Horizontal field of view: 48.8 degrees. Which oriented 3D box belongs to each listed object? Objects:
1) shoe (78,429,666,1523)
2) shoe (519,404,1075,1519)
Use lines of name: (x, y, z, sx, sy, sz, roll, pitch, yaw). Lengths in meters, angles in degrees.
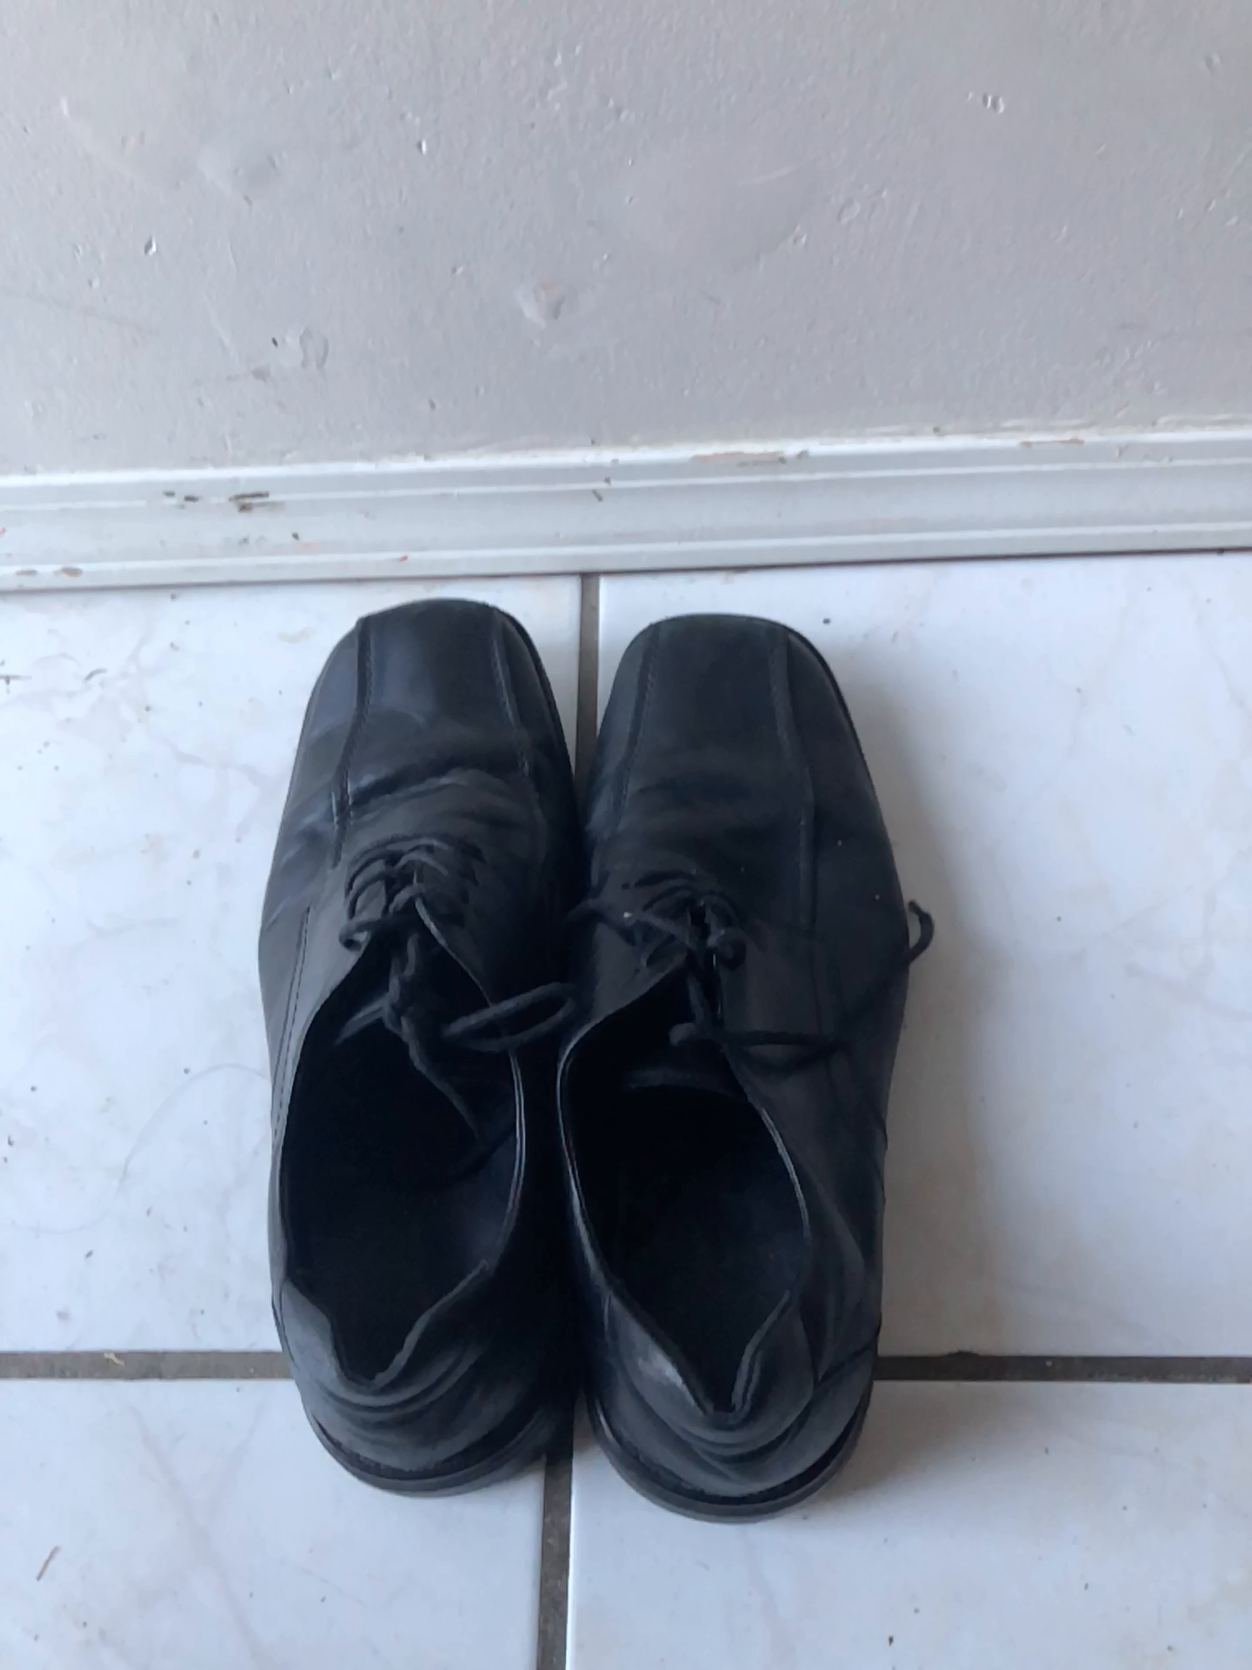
shoe: (-0.064, 0.032, 0.402, 0.120, 0.100, 0.291, -6, 62, 1)
shoe: (0.034, 0.027, 0.387, 0.110, 0.100, 0.291, -3, 62, 3)
